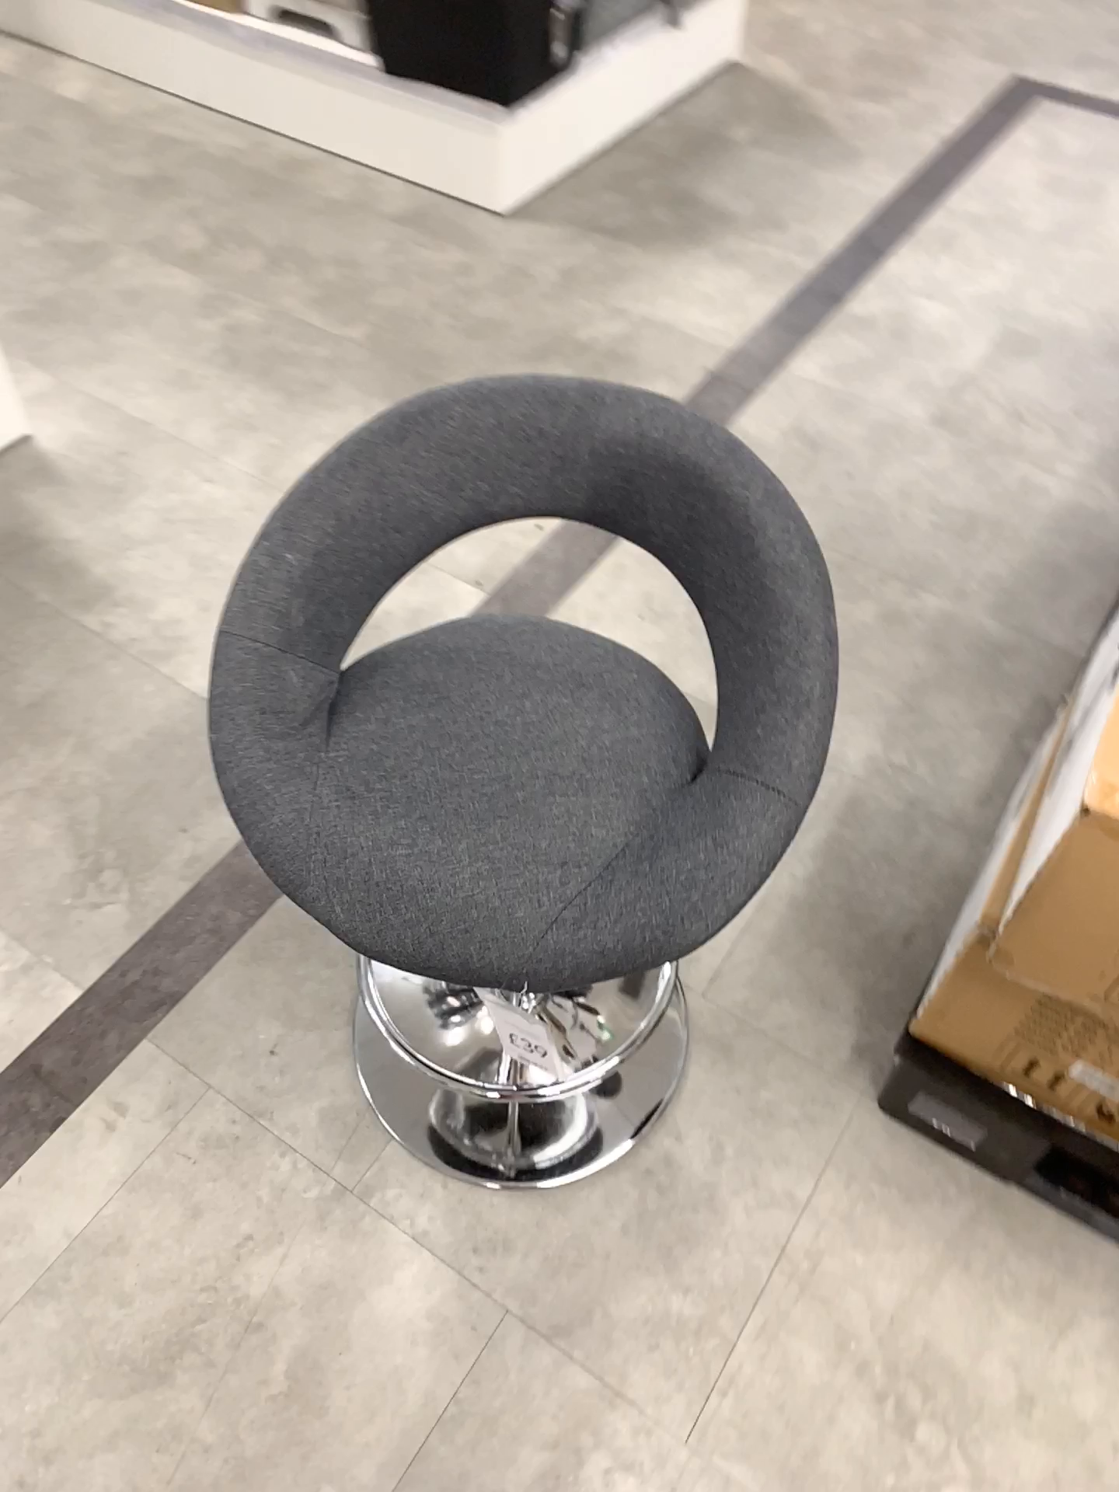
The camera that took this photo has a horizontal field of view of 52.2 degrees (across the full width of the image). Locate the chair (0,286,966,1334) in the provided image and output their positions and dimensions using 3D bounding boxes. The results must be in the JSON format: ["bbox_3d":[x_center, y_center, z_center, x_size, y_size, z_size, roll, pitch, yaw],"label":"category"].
[{"bbox_3d":[-0.048,0.071,1.118,0.573,0.665,0.596,20,53,13],"label":"chair"}]
